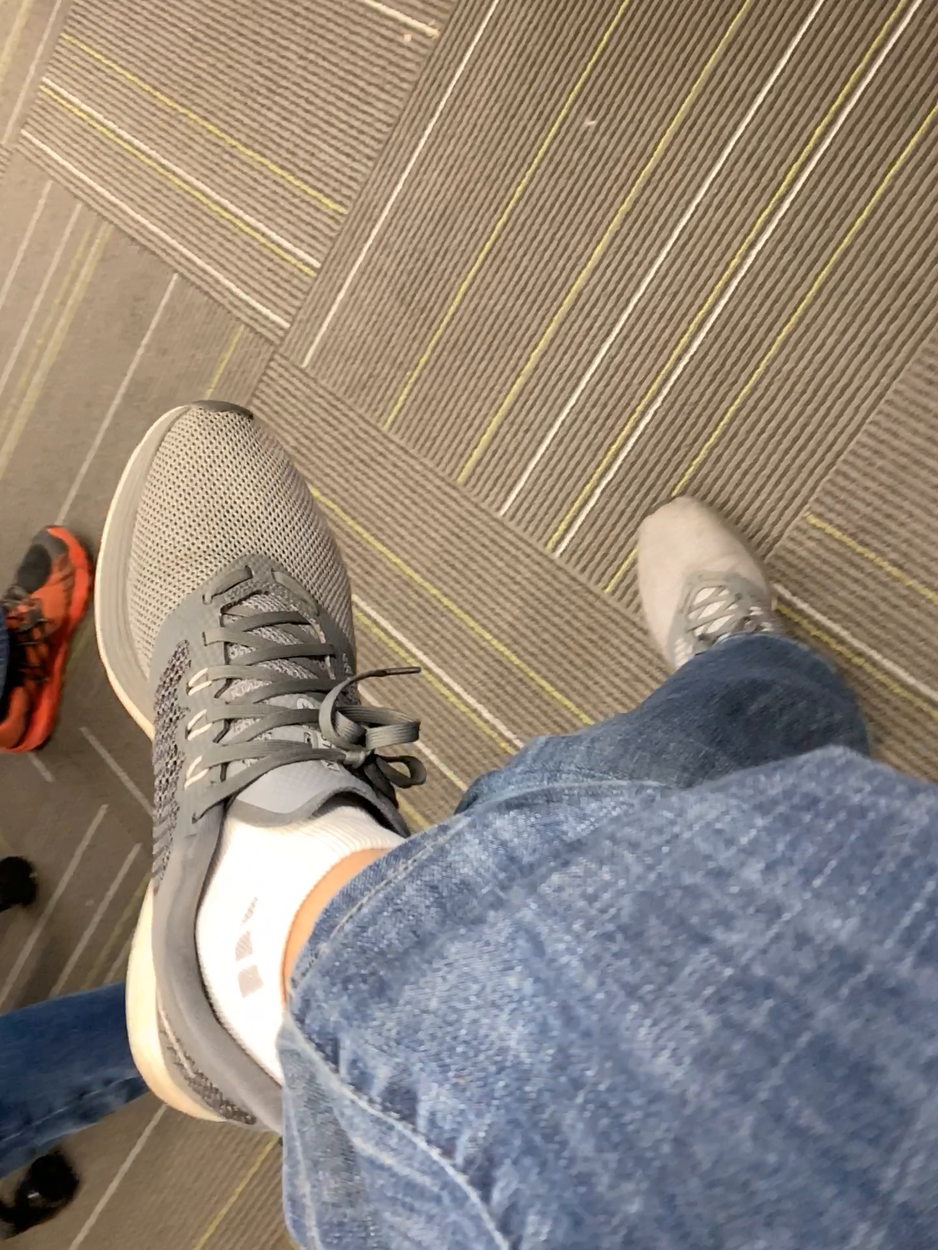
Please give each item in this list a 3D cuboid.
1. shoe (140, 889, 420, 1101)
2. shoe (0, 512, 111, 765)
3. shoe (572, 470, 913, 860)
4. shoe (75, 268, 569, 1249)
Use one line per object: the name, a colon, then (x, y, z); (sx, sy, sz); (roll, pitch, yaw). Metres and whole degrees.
shoe: (-0.213, 0.409, 1.071); (0.278, 0.116, 0.112); (-33, 65, 18)
shoe: (-0.571, 0.017, 1.236); (0.113, 0.107, 0.294); (17, 91, 48)
shoe: (0.220, 0.029, 0.796); (0.117, 0.074, 0.293); (-38, 72, 24)
shoe: (-0.073, 0.041, 0.371); (0.143, 0.115, 0.294); (-28, 68, 61)
